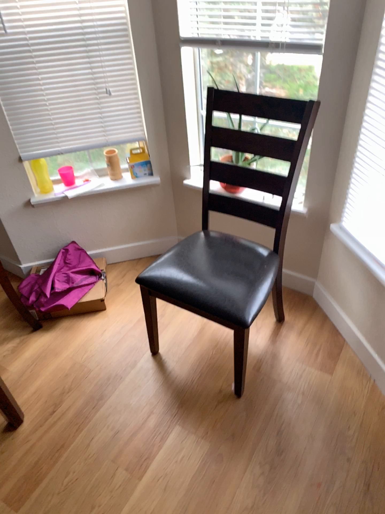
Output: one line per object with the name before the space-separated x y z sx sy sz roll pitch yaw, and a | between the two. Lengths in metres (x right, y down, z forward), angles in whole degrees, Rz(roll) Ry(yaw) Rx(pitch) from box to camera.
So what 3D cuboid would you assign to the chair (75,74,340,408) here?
chair | 0.090 -0.055 1.421 0.561 0.945 0.542 19 45 26
